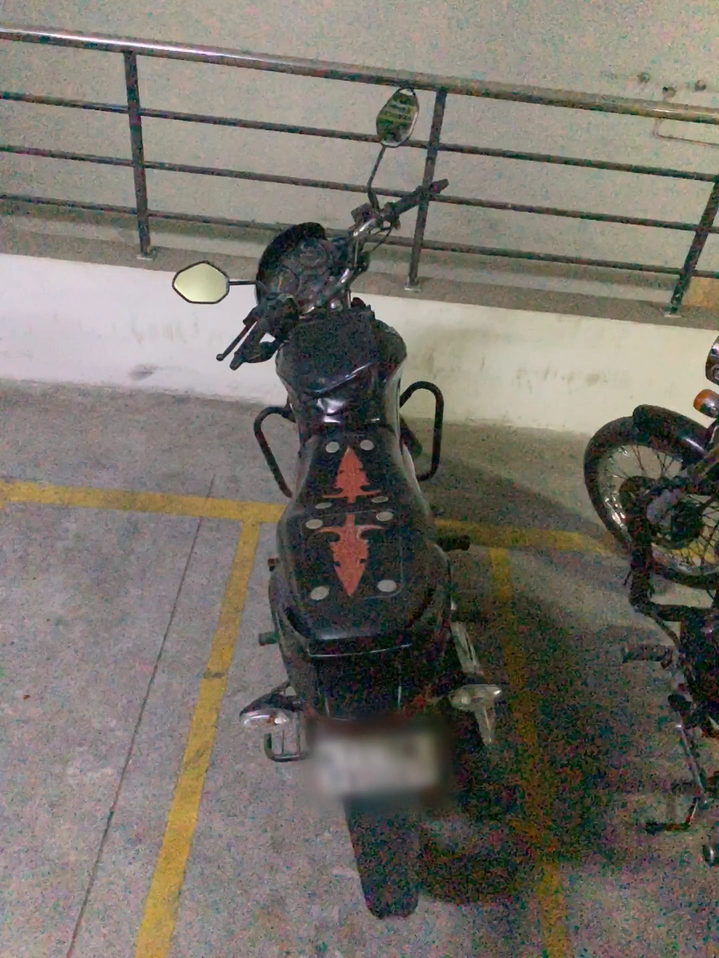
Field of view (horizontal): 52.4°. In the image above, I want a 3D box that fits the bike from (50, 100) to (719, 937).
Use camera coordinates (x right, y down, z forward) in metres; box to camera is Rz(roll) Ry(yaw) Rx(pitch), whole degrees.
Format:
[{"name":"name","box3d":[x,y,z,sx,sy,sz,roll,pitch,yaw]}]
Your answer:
[{"name":"bike","box3d":[-0.169,-0.075,1.755,0.755,1.067,1.684,-2,39,-12]}]
